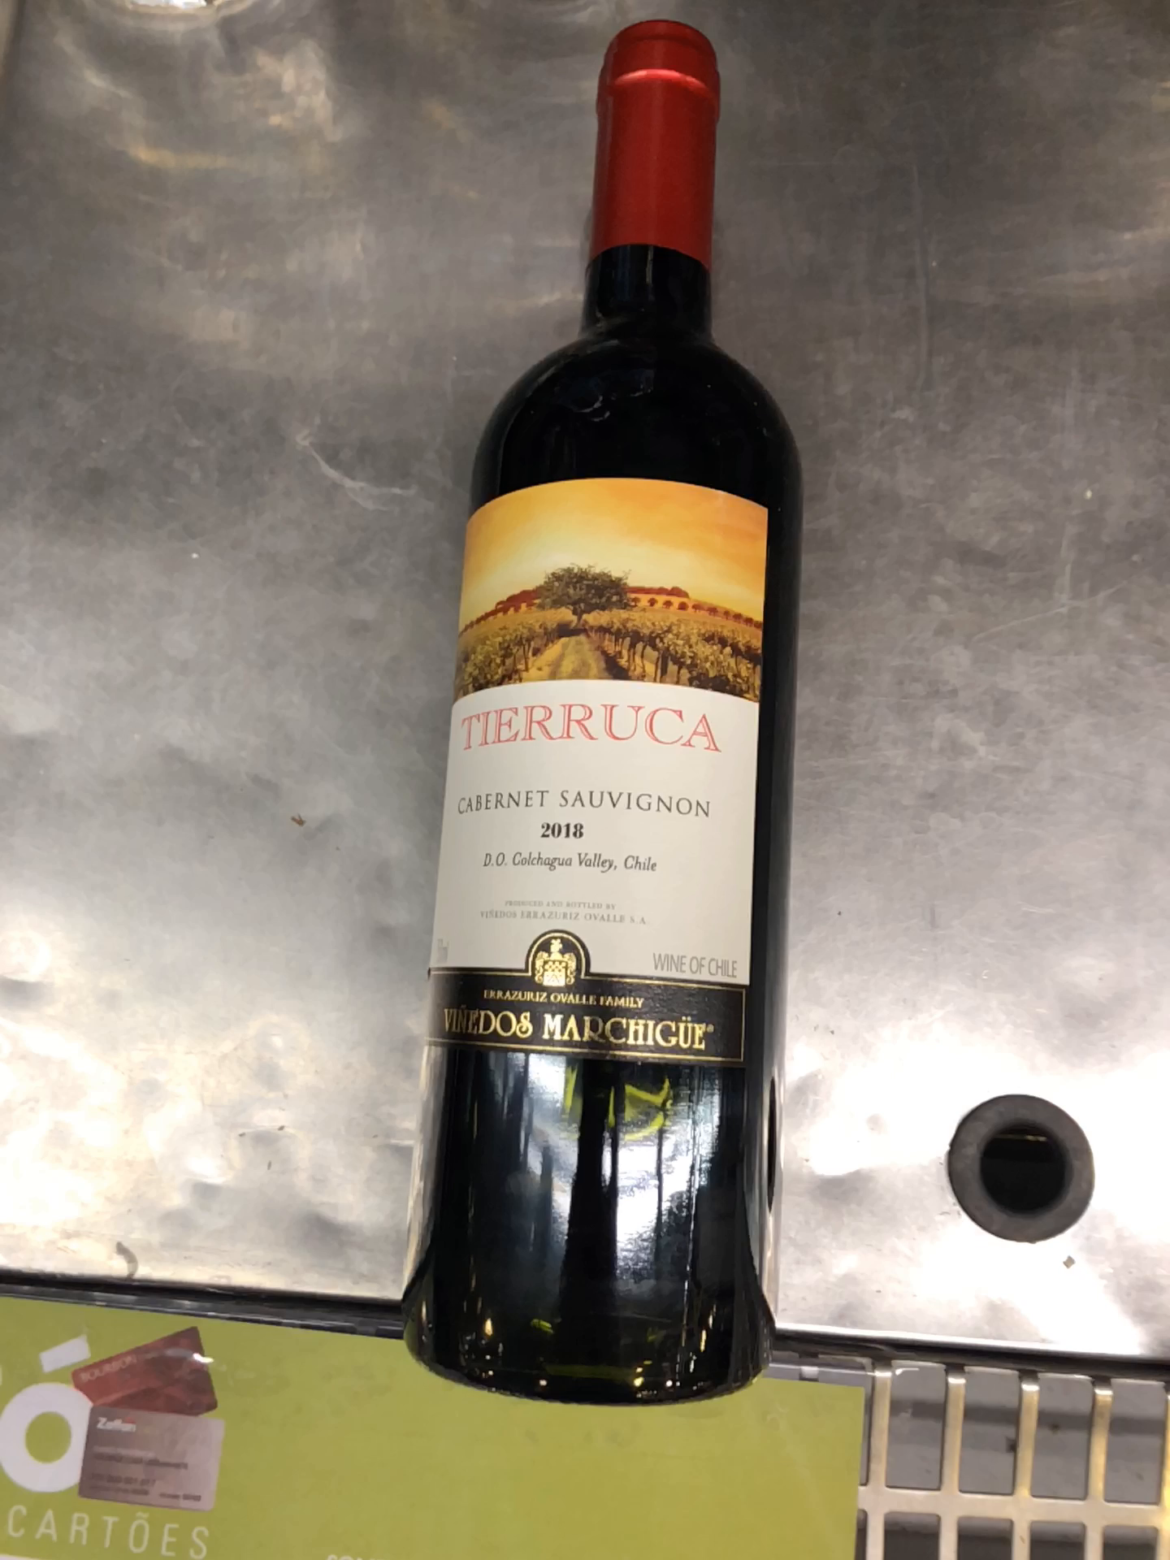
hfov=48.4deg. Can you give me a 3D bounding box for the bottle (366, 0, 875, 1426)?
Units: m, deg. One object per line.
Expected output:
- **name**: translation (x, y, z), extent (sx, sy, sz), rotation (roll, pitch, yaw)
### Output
- **bottle**: translation (0.011, -0.039, 0.275), extent (0.080, 0.050, 0.310), rotation (4, 81, 0)
